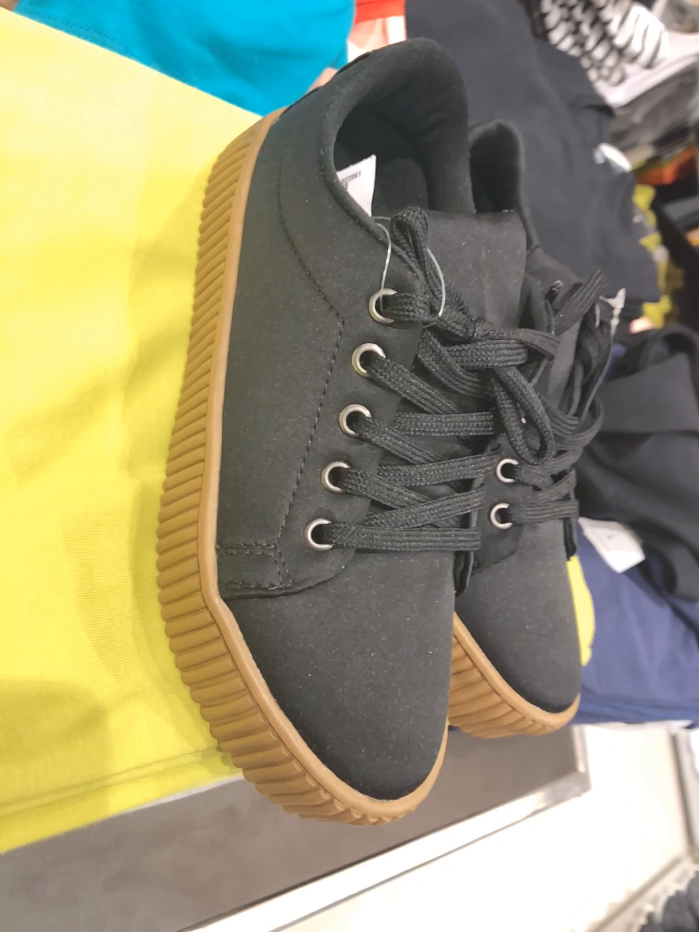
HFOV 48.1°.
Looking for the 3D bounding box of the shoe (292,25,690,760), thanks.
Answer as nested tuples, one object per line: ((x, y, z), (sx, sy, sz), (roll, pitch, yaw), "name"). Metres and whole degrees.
((0.051, -0.023, 0.304), (0.091, 0.079, 0.240), (4, 75, -47), "shoe")

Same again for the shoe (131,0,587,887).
((-0.003, -0.016, 0.237), (0.091, 0.079, 0.230), (9, 71, -45), "shoe")
